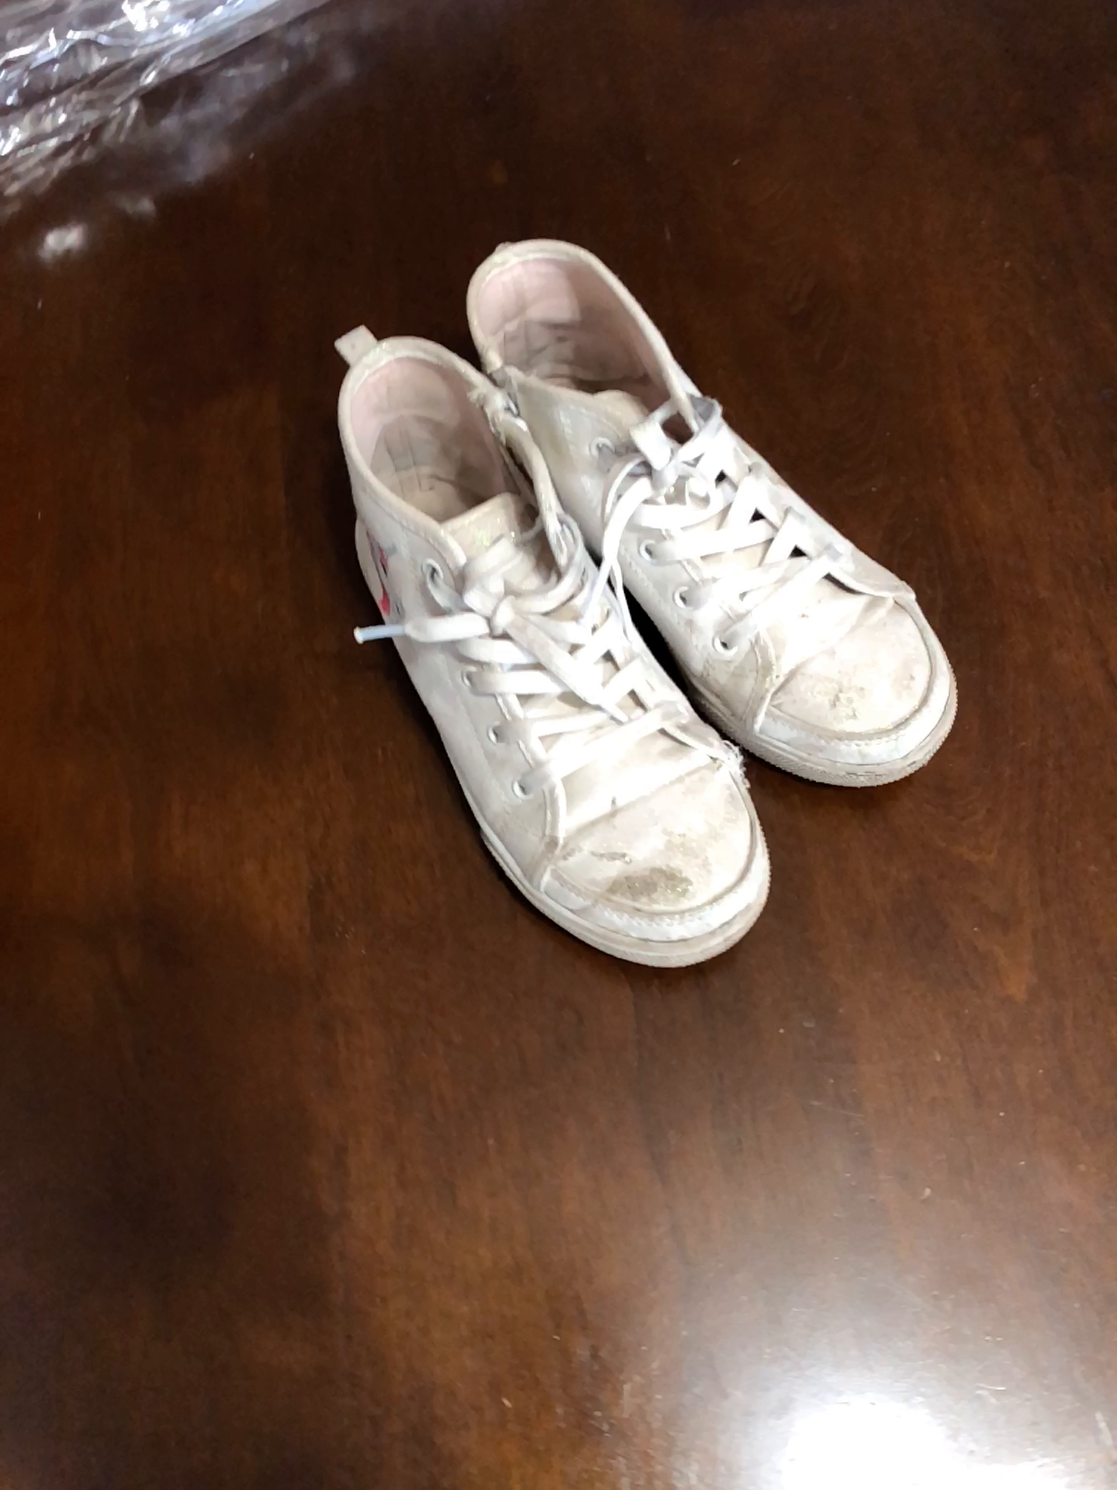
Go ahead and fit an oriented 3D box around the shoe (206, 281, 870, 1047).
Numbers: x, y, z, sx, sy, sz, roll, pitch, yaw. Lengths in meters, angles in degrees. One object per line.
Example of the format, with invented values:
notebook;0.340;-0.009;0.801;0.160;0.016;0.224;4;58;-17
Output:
shoe;-0.013;-0.027;0.409;0.090;0.100;0.220;-31;69;-11

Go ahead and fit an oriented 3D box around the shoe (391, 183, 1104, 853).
shoe;0.056;-0.081;0.440;0.220;0.100;0.090;41;73;17
